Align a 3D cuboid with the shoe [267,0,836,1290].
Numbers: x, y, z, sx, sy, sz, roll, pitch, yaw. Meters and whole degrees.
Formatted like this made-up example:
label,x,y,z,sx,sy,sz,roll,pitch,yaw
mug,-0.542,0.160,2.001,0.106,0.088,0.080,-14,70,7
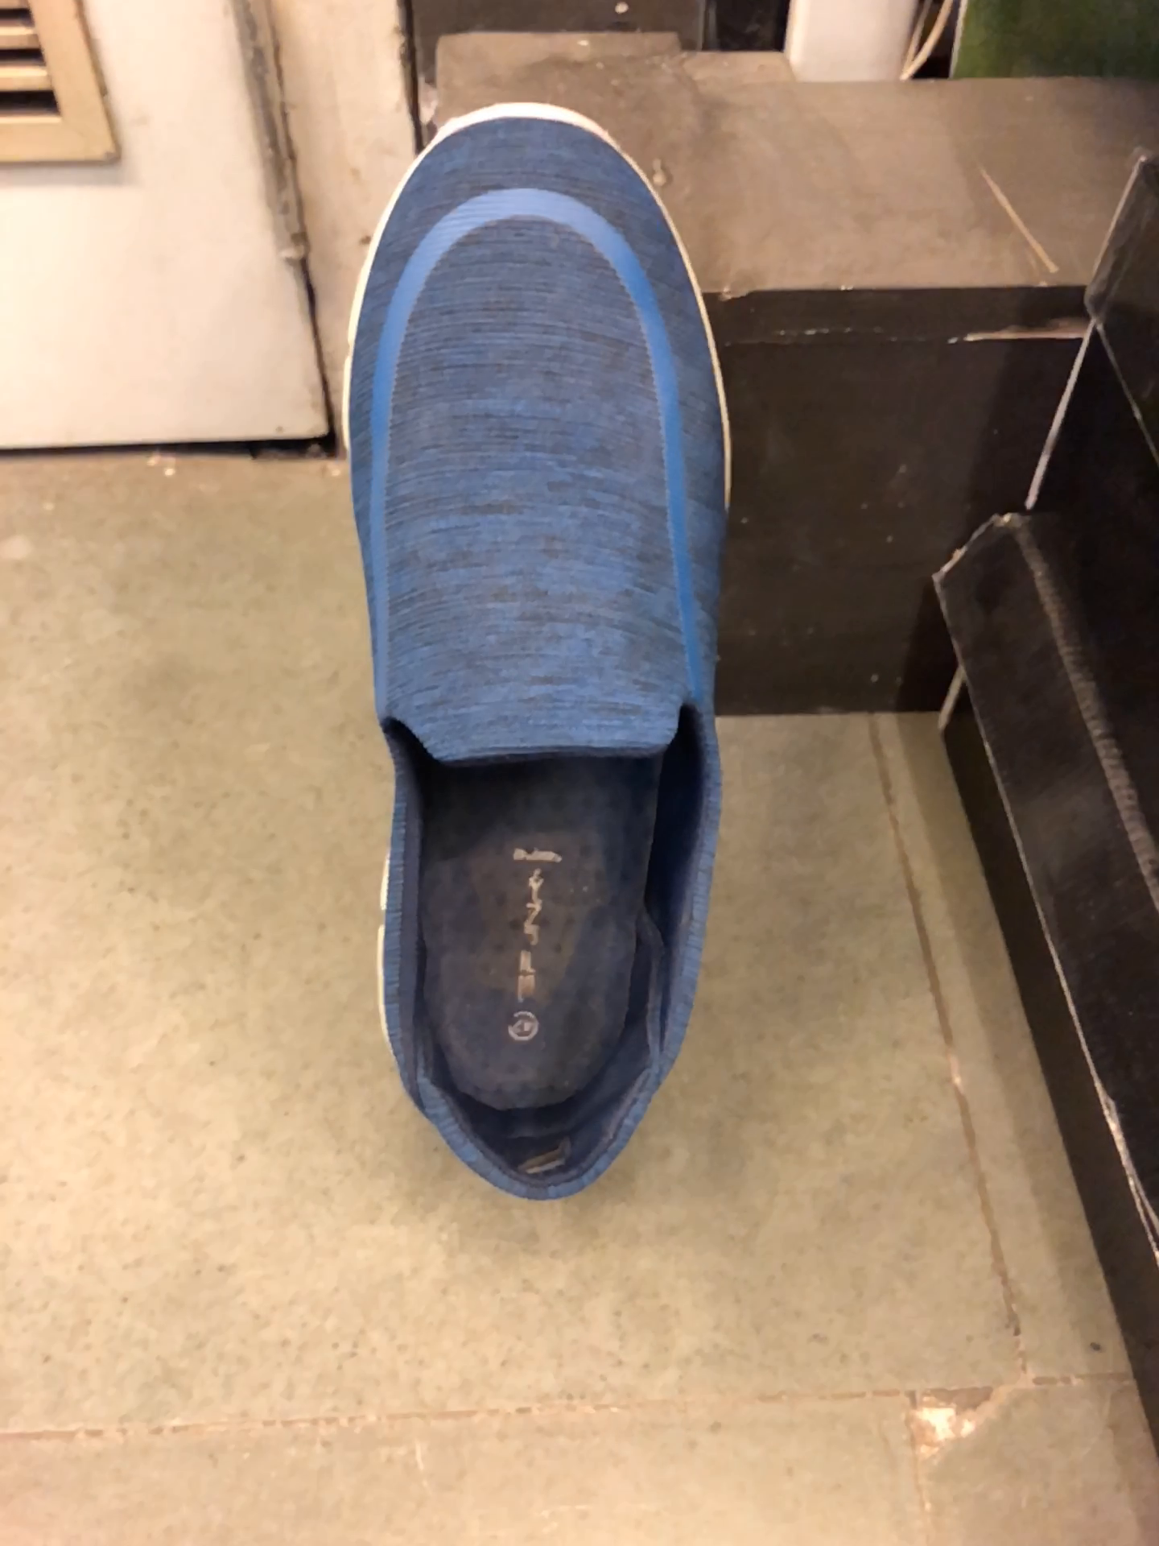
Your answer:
label,x,y,z,sx,sy,sz,roll,pitch,yaw
shoe,-0.011,-0.028,0.318,0.110,0.272,0.095,0,9,-6
